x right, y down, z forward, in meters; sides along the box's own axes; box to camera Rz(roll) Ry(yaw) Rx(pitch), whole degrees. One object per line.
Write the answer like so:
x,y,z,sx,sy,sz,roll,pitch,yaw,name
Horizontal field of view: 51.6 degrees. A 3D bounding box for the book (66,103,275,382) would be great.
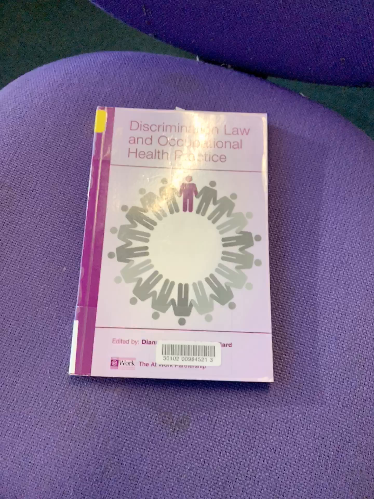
-0.009,-0.014,0.332,0.157,0.022,0.236,2,75,-1,book
